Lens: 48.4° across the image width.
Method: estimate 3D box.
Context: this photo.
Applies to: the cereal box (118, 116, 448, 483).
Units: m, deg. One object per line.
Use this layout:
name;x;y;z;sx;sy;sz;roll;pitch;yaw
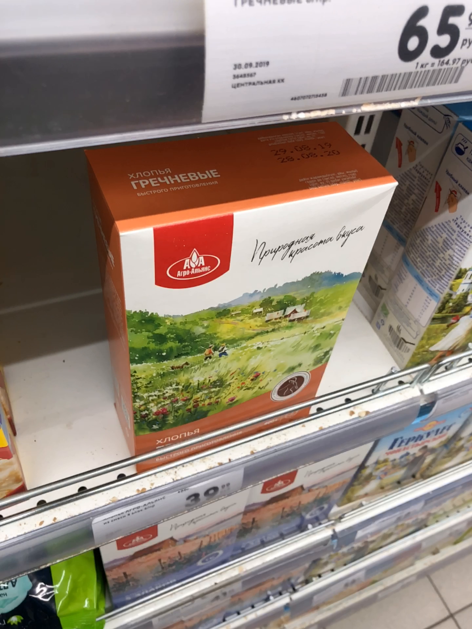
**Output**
cereal box;0.011;0.002;0.297;0.130;0.199;0.060;-13;50;-20
